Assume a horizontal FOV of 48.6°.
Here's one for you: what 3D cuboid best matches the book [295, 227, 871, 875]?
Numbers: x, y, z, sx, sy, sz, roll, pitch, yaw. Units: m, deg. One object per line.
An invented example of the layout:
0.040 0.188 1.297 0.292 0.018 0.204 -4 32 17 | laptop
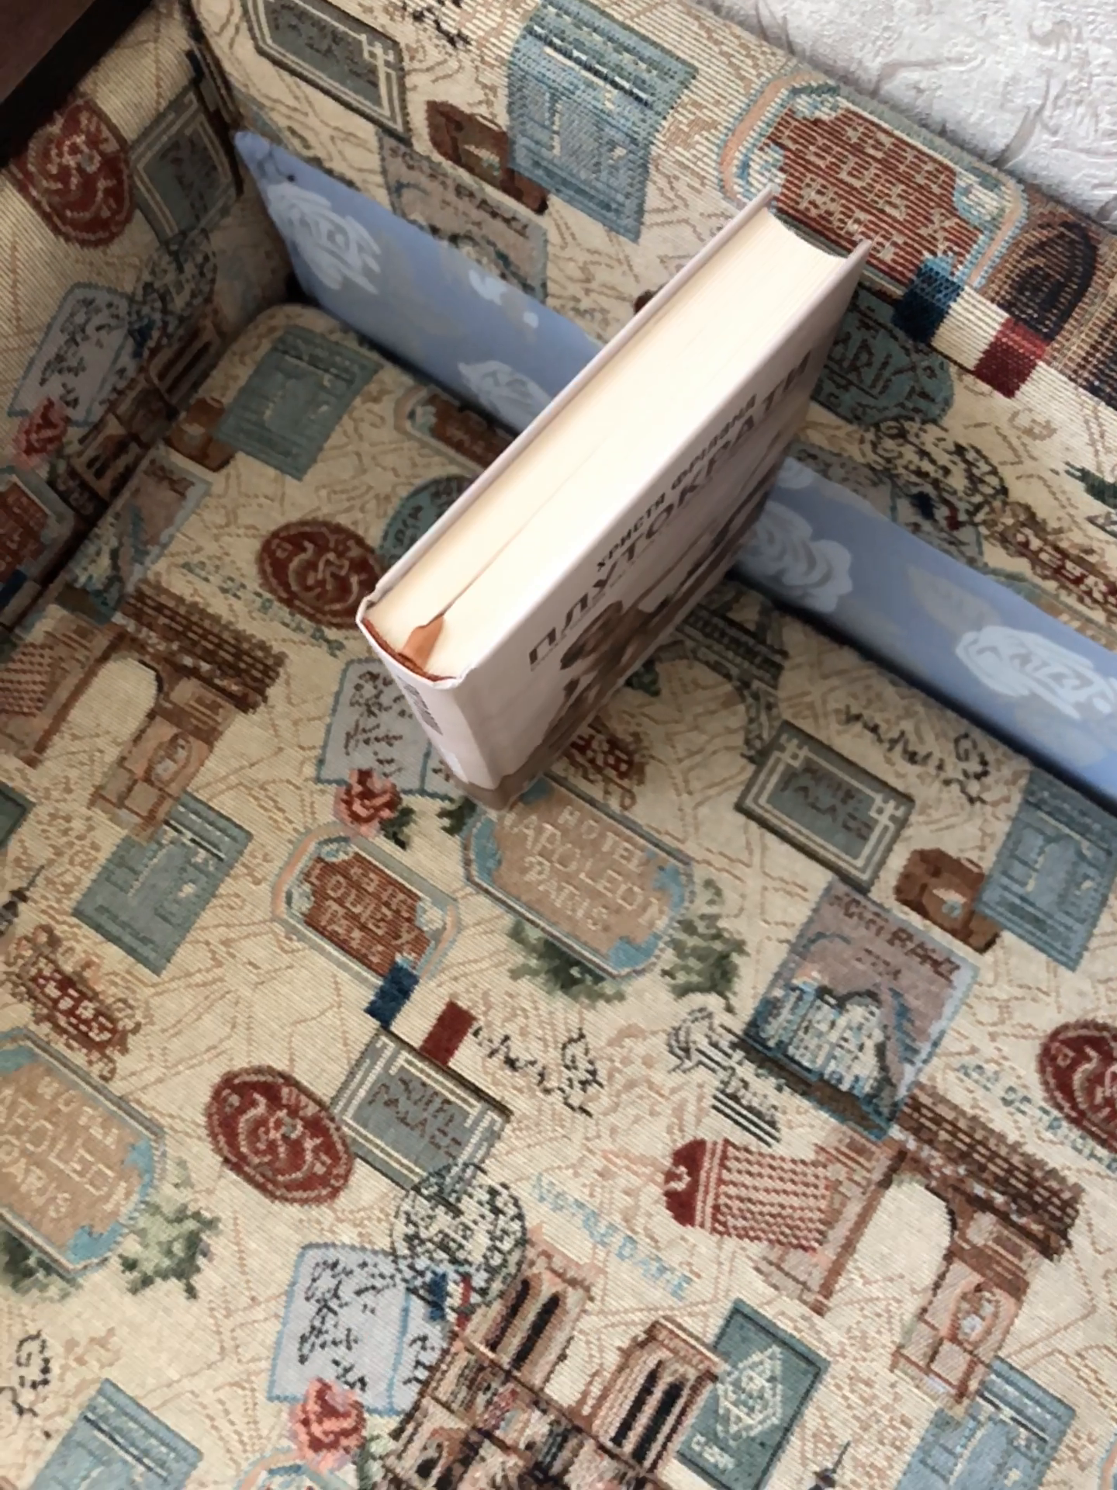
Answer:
0.007 -0.041 0.417 0.040 0.220 0.170 42 82 6 | book
